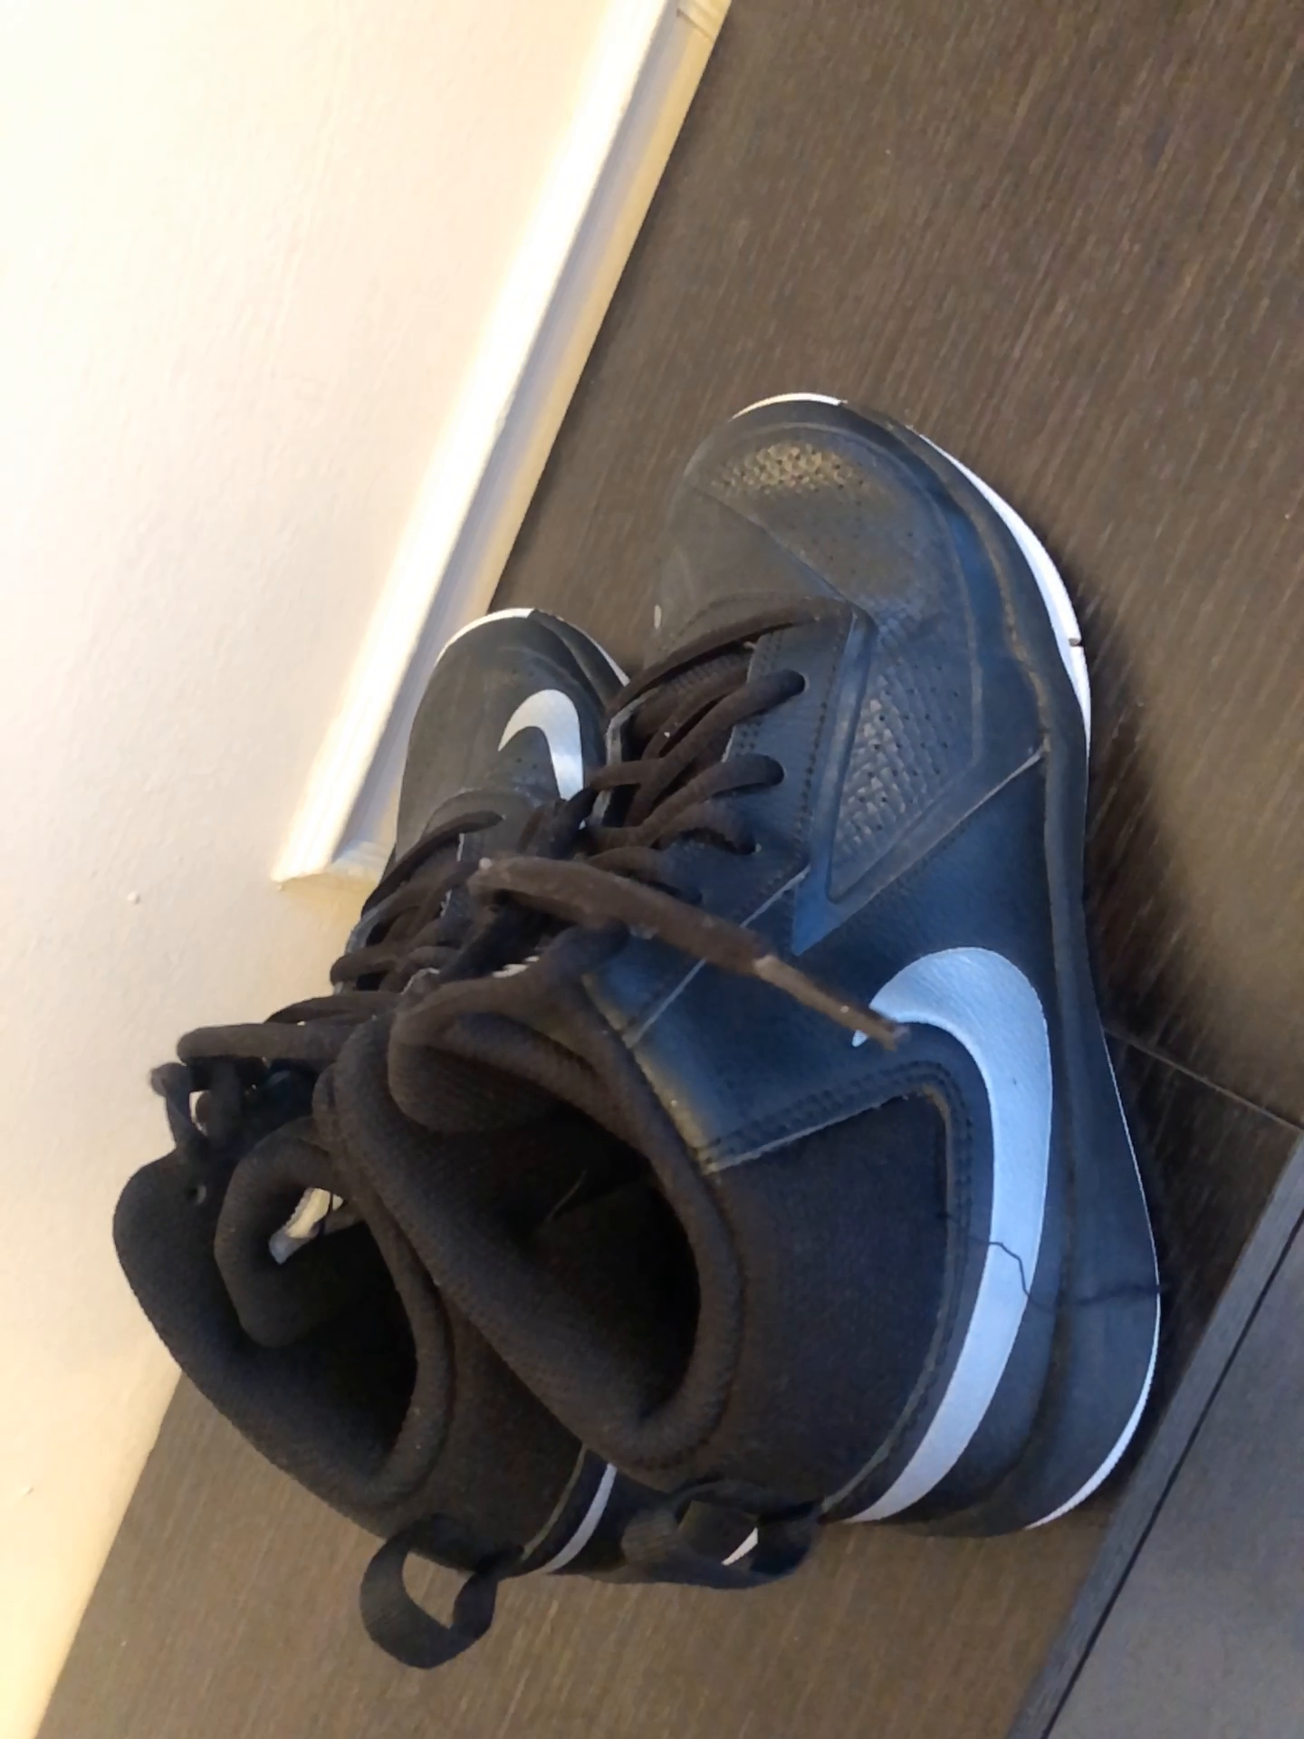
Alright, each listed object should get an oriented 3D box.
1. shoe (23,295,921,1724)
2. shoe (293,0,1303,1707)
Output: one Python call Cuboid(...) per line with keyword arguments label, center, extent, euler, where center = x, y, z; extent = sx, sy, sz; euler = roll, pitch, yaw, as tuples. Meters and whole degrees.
Cuboid(label="shoe", center=(-0.052, 0.025, 0.323), extent=(0.100, 0.129, 0.261), euler=(-34, 56, 35))
Cuboid(label="shoe", center=(0.021, -0.003, 0.261), extent=(0.100, 0.129, 0.251), euler=(-28, 59, 38))
